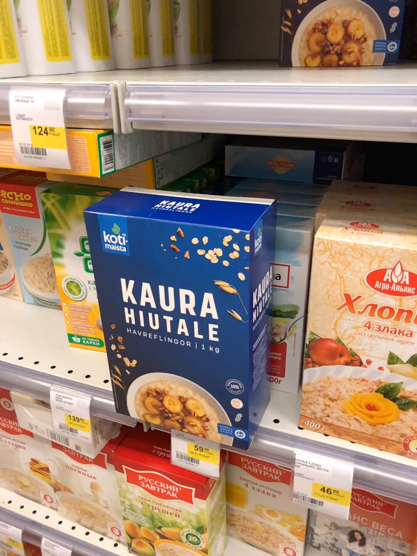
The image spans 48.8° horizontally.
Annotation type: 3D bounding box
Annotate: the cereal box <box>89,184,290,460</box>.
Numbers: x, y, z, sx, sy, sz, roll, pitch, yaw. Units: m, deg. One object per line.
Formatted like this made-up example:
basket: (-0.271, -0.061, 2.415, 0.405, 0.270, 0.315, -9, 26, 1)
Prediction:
cereal box: (-0.011, 0.039, 0.437, 0.150, 0.229, 0.080, 9, 28, 20)
